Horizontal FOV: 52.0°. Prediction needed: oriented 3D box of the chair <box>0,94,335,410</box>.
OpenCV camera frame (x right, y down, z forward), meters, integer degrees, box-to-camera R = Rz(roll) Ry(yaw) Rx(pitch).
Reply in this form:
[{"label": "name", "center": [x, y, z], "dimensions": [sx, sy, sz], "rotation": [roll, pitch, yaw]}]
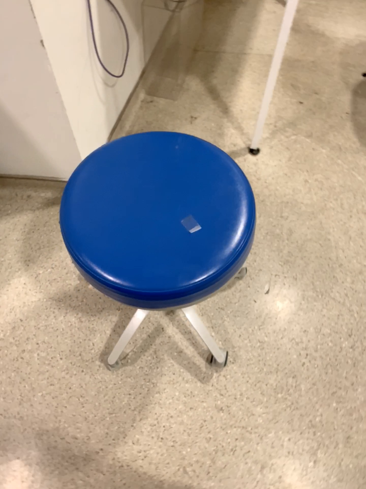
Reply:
[{"label": "chair", "center": [-0.068, 0.070, 1.025], "dimensions": [0.570, 0.636, 0.584], "rotation": [-5, 61, -4]}]
